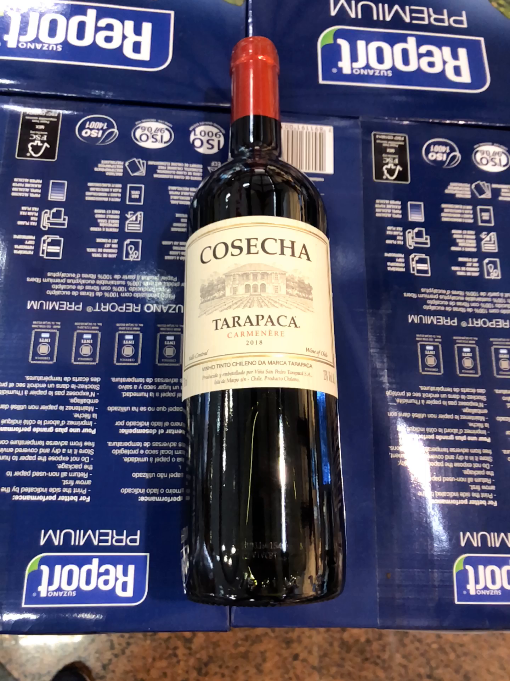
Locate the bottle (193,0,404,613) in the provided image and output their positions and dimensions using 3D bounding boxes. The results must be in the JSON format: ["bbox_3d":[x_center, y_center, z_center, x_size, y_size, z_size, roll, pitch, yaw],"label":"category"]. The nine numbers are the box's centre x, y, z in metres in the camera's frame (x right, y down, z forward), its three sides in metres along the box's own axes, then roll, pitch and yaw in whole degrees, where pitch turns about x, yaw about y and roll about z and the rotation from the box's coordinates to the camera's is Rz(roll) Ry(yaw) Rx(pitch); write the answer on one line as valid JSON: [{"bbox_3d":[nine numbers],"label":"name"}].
[{"bbox_3d":[0.010,-0.049,0.290,0.080,0.060,0.330,0,72,-6],"label":"bottle"}]
